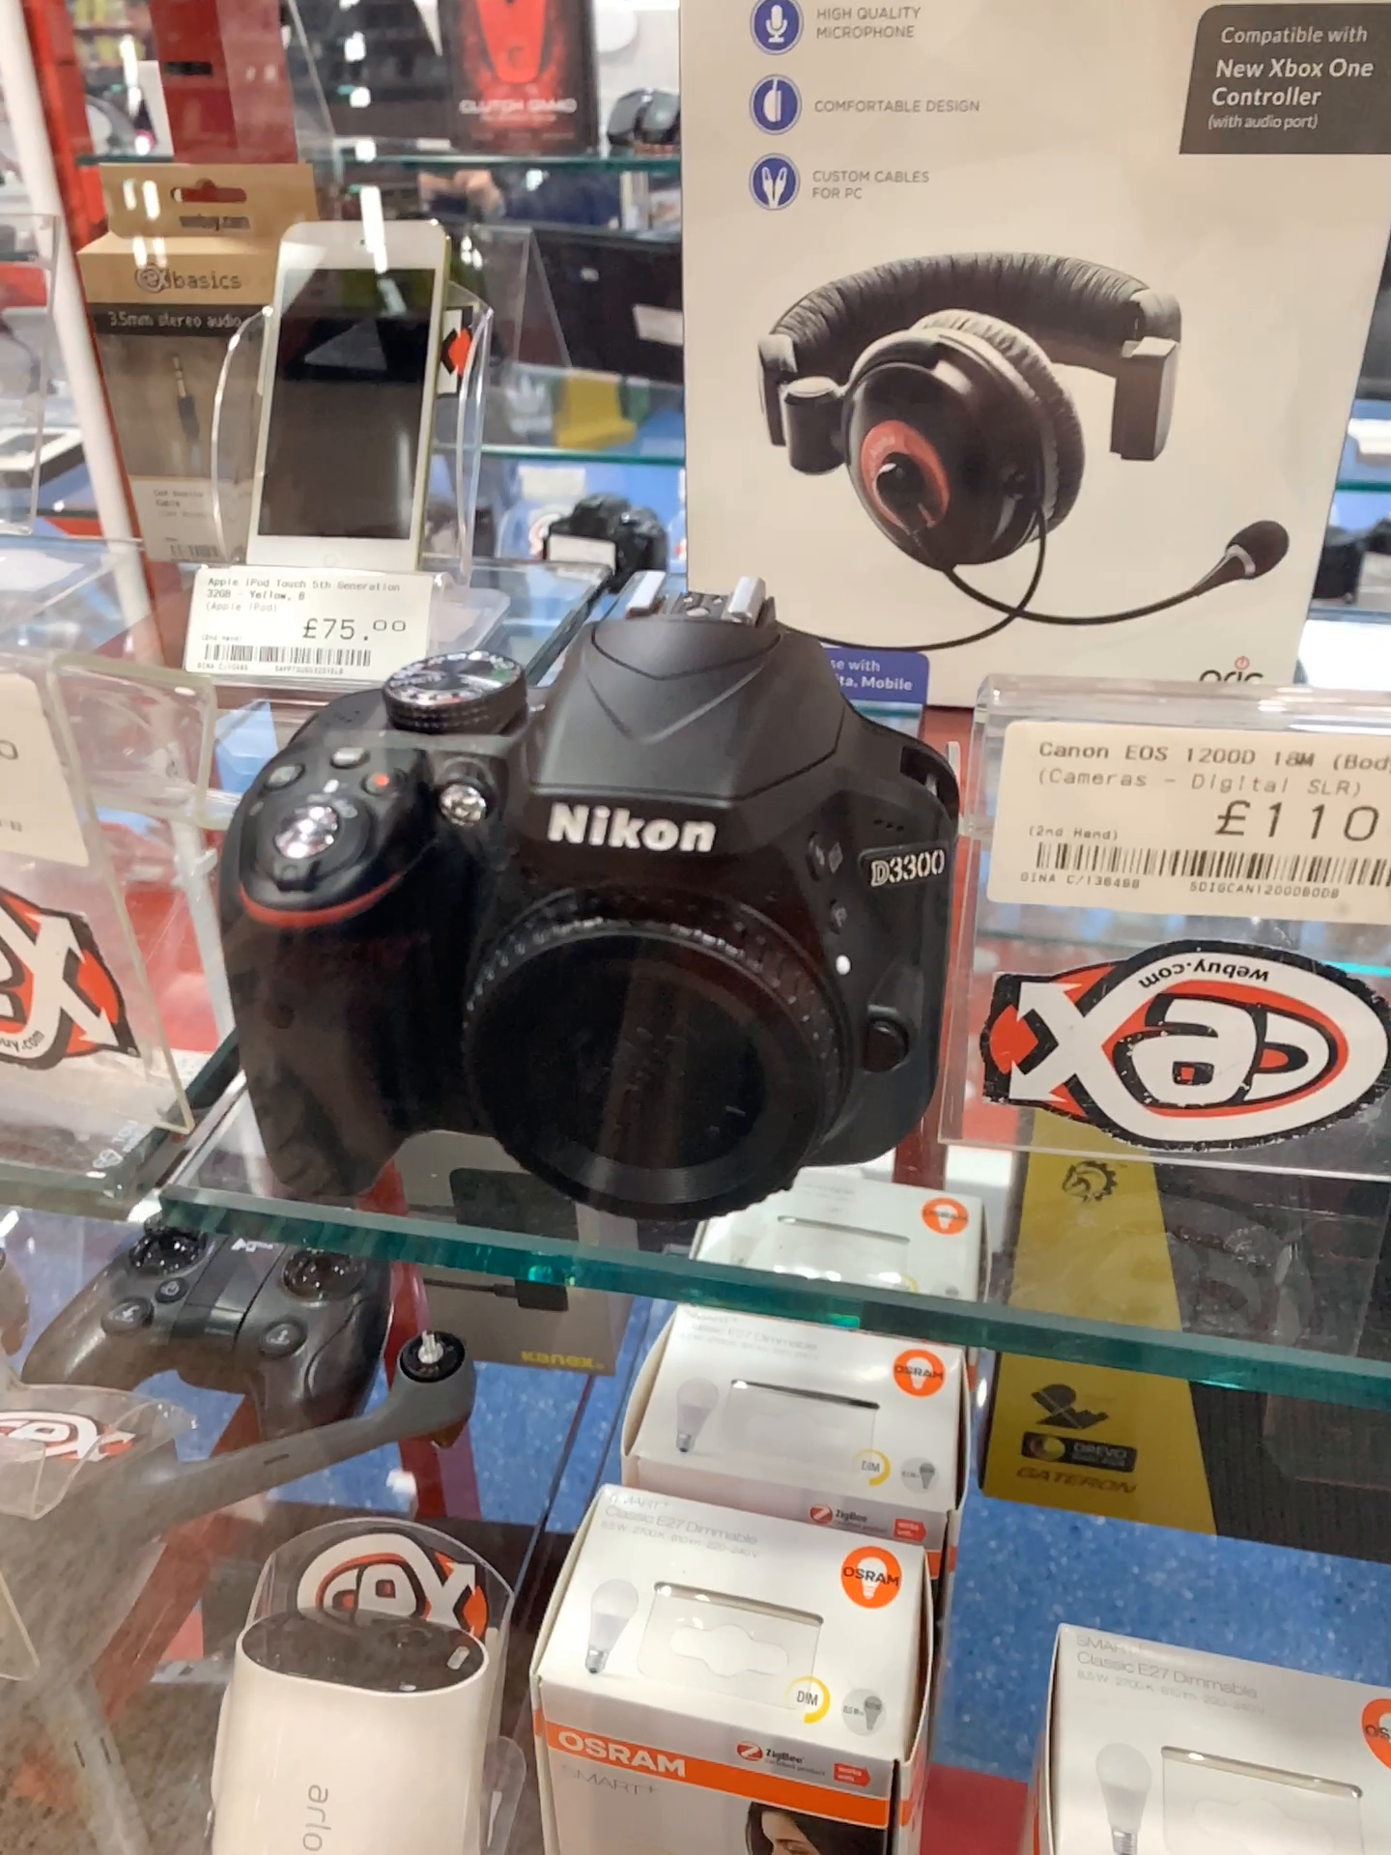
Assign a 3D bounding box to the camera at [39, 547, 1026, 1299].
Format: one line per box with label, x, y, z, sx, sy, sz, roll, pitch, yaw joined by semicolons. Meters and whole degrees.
camera;-0.017;-0.010;0.252;0.130;0.079;0.111;3;32;6
